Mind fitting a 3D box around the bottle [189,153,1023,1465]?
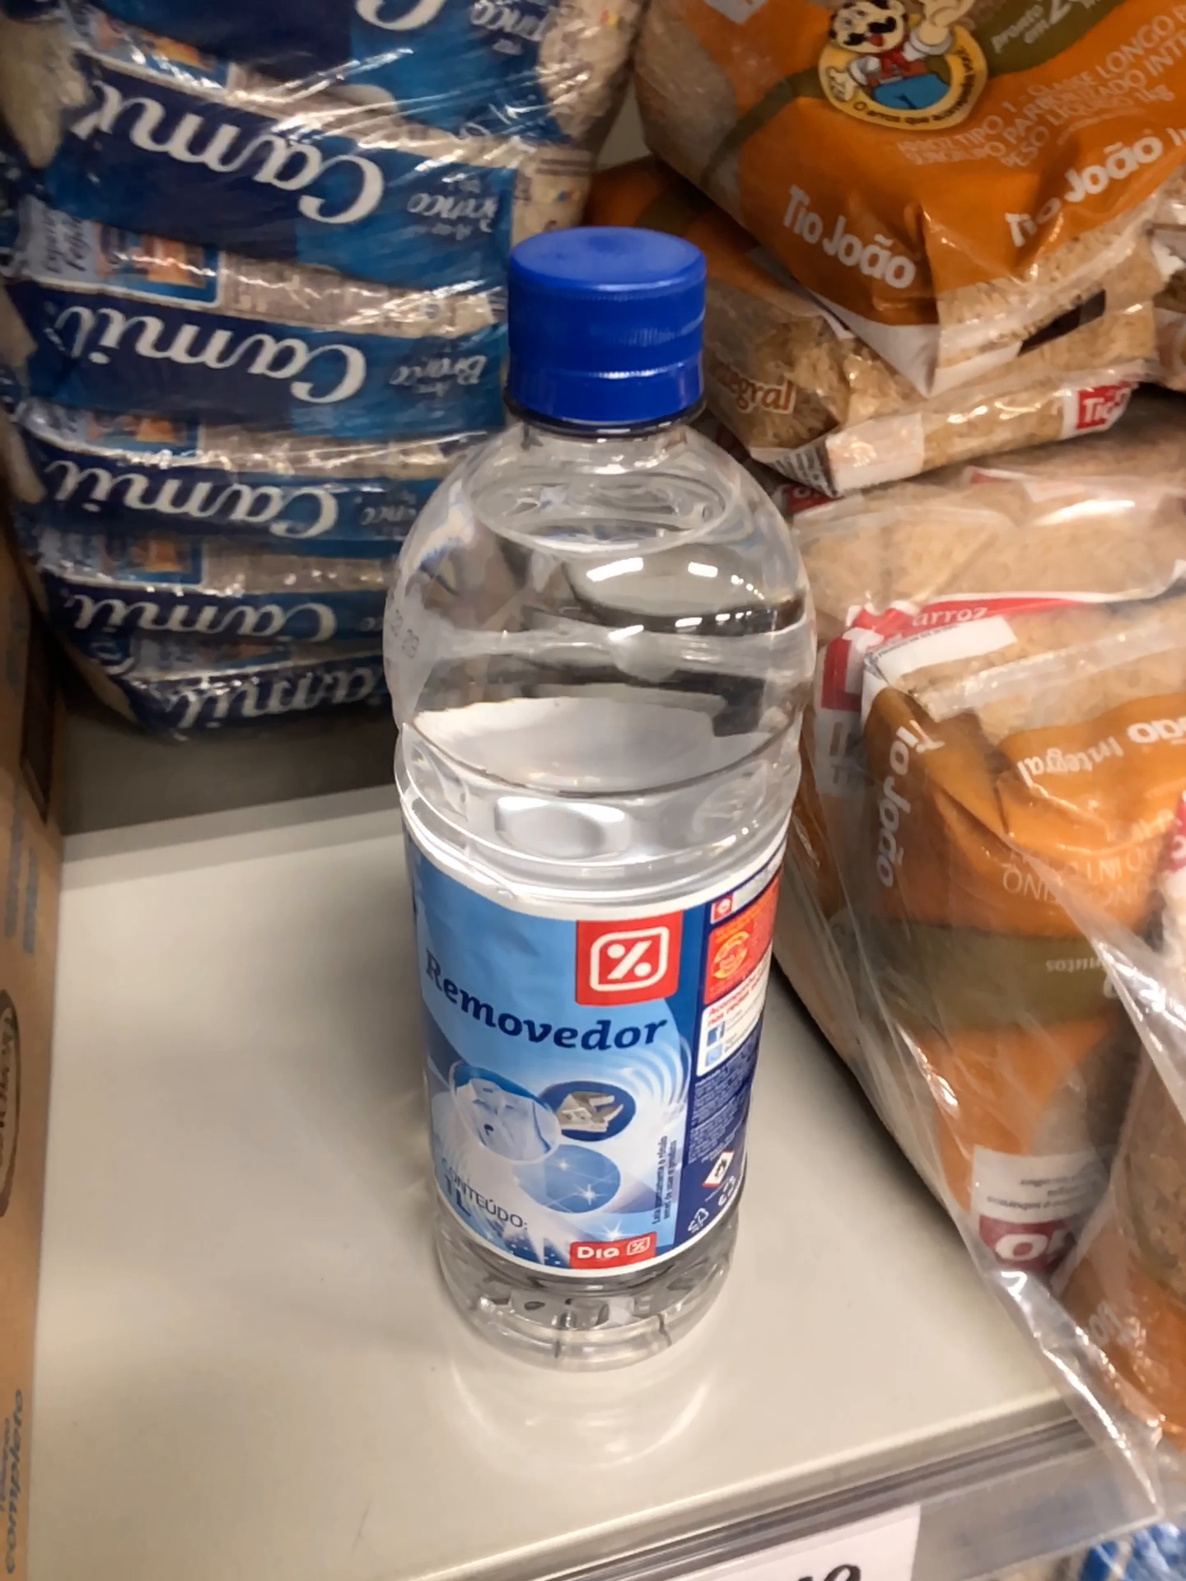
[{"bbox_3d":[0.002,0.023,0.274,0.090,0.258,0.080,-32,51,-32],"label":"bottle"}]
